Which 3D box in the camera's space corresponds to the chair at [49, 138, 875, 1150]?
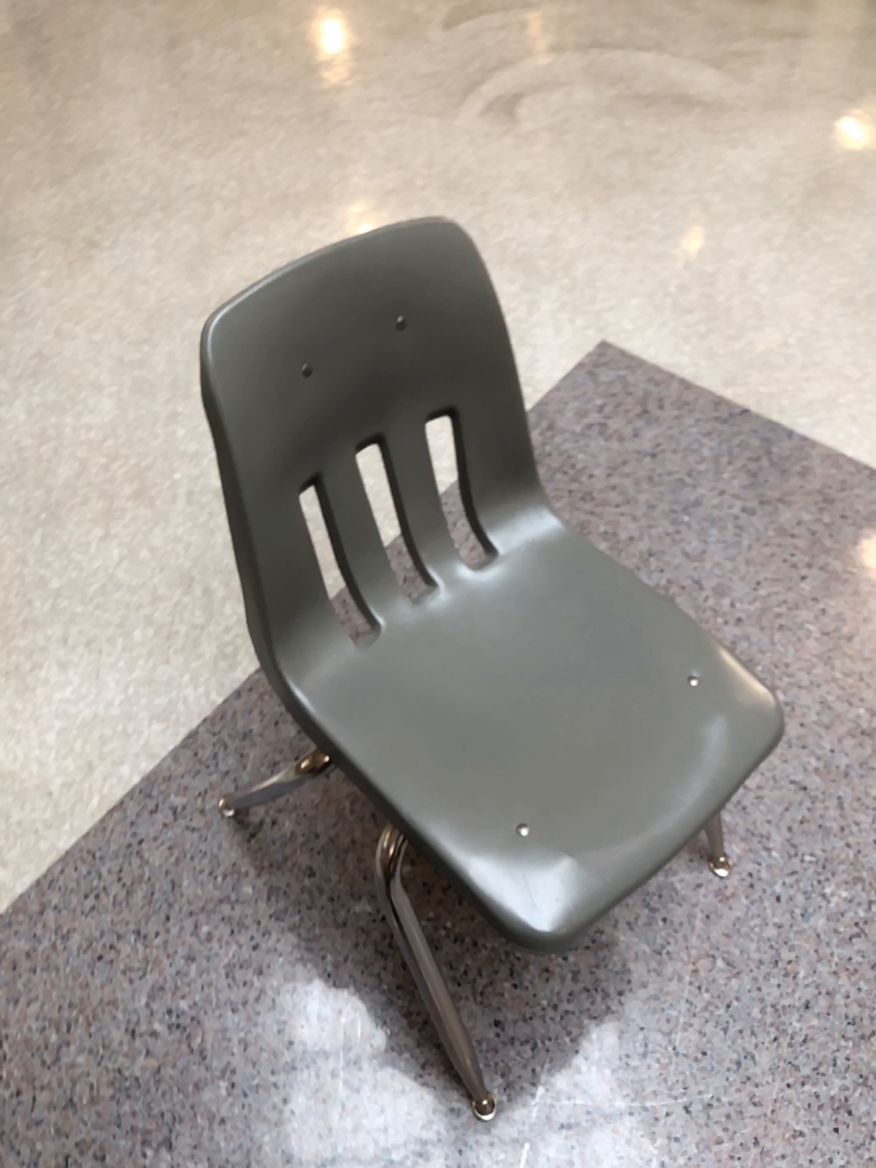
[{"bbox_3d":[0.077,0.073,0.955,0.511,0.666,0.552,-34,60,-26],"label":"chair"}]
